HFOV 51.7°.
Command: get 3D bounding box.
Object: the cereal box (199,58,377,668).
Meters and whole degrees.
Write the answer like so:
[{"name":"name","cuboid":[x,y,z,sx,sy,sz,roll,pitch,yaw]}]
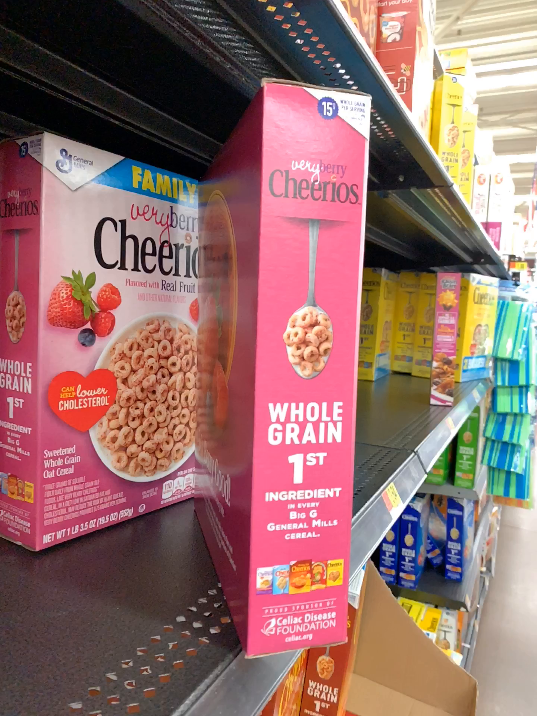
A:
[{"name":"cereal box","cuboid":[-0.005,-0.002,0.413,0.060,0.320,0.240,0,5,-14]}]
